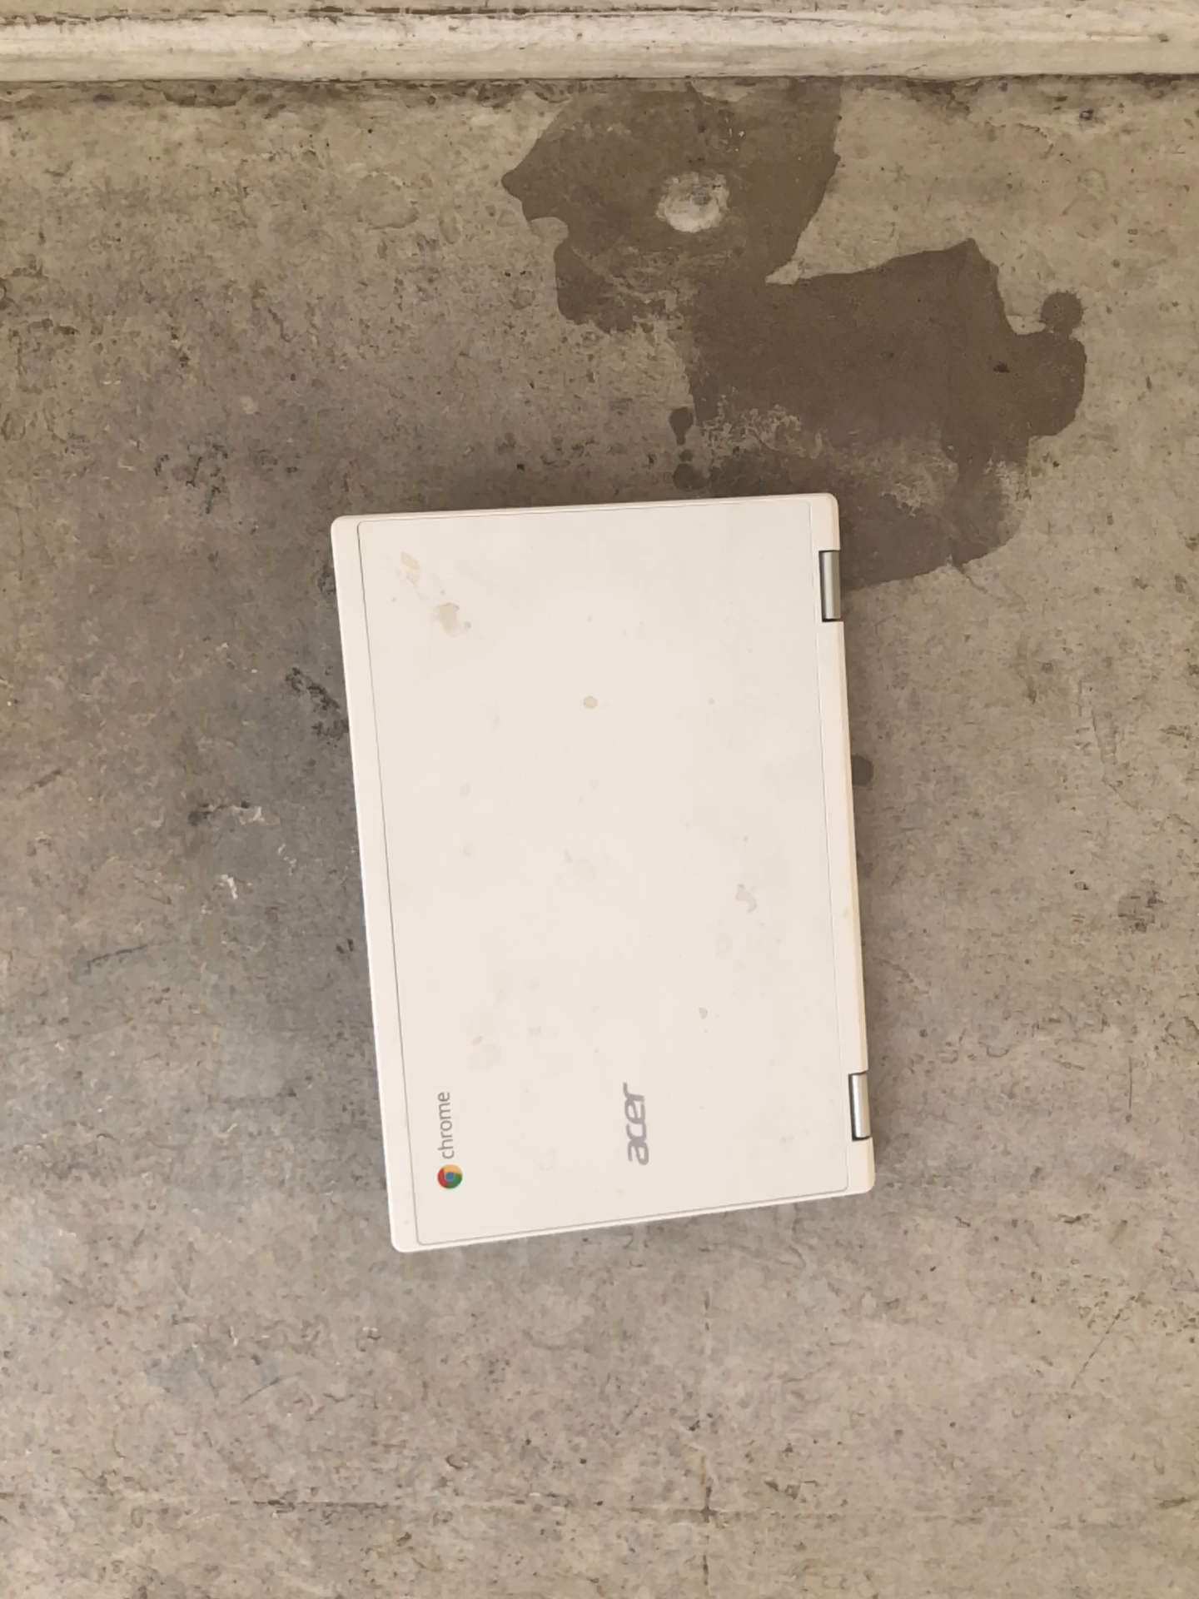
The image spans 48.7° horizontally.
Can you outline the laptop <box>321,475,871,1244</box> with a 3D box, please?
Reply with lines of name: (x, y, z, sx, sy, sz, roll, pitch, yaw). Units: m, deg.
laptop: (0.002, 0.024, 0.521, 0.190, 0.046, 0.278, -4, 95, 0)
